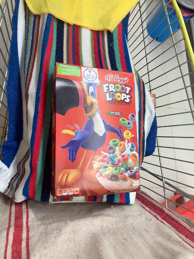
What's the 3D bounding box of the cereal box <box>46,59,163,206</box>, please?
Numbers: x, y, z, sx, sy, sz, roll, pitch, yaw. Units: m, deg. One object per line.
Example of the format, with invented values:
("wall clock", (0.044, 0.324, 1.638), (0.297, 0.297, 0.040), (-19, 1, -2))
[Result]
("cereal box", (0.013, 0.005, 0.395), (0.210, 0.060, 0.250), (2, 79, -19))
